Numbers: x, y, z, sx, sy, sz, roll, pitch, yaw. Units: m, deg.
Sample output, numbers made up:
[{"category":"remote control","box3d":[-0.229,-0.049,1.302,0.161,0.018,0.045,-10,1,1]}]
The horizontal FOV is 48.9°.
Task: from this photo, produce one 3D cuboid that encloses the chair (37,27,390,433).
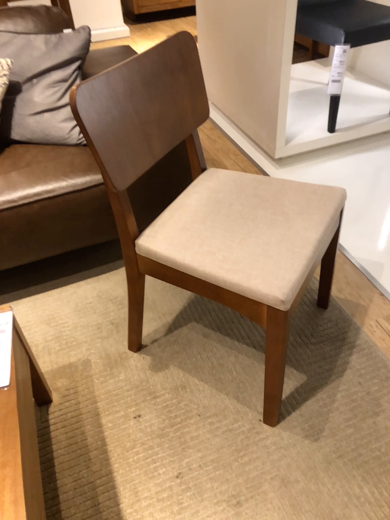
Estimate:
[{"category":"chair","box3d":[0.088,-0.082,1.111,0.531,0.794,0.513,18,46,24]}]
